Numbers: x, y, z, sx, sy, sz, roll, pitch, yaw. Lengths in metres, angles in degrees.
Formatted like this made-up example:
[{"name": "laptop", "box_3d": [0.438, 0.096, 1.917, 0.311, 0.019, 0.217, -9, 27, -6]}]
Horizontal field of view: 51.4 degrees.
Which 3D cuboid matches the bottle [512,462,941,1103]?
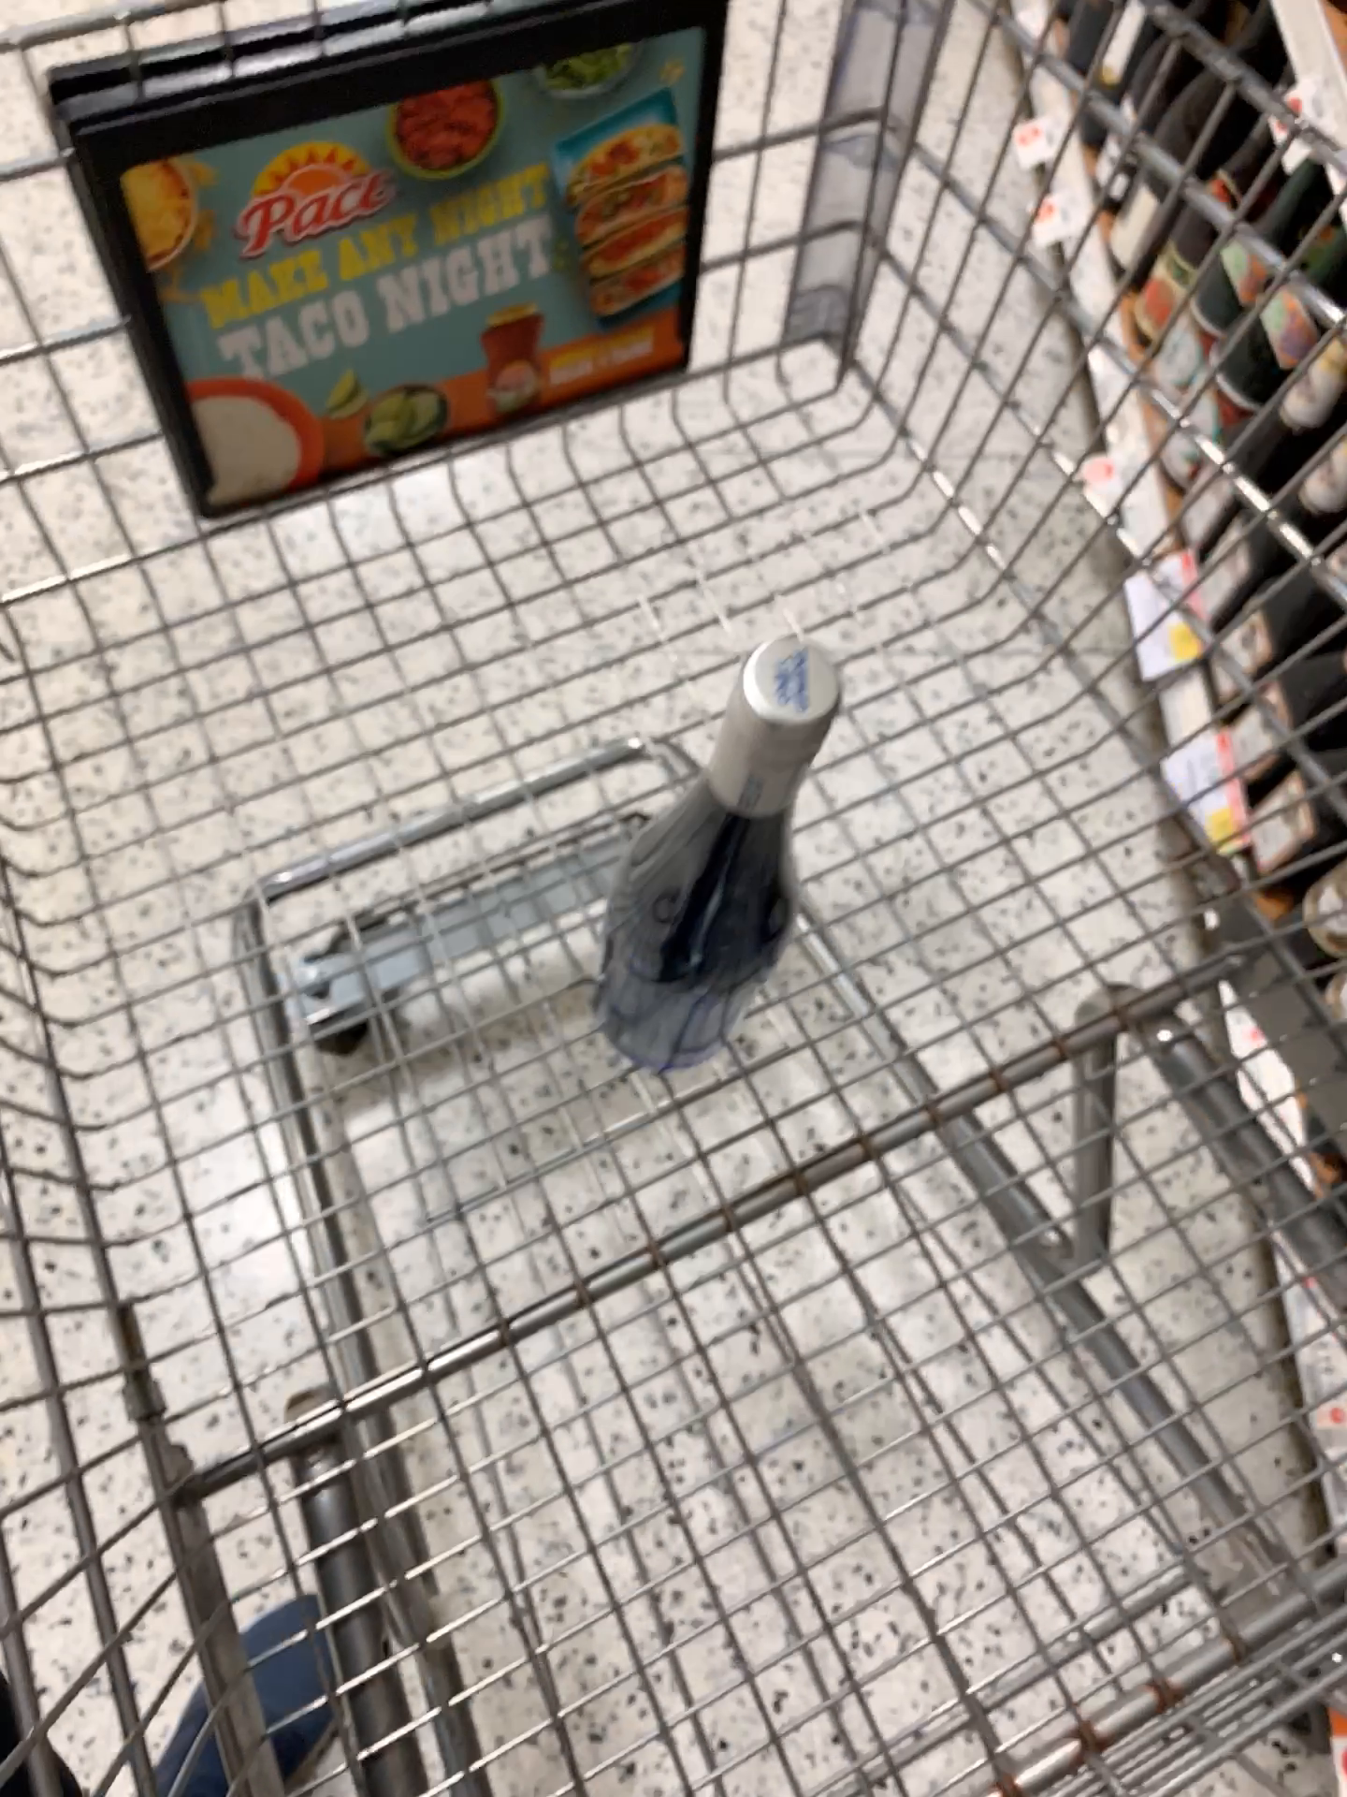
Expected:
[{"name": "bottle", "box_3d": [0.001, -0.017, 0.533, 0.090, 0.308, 0.090, 2, 68, -5]}]
